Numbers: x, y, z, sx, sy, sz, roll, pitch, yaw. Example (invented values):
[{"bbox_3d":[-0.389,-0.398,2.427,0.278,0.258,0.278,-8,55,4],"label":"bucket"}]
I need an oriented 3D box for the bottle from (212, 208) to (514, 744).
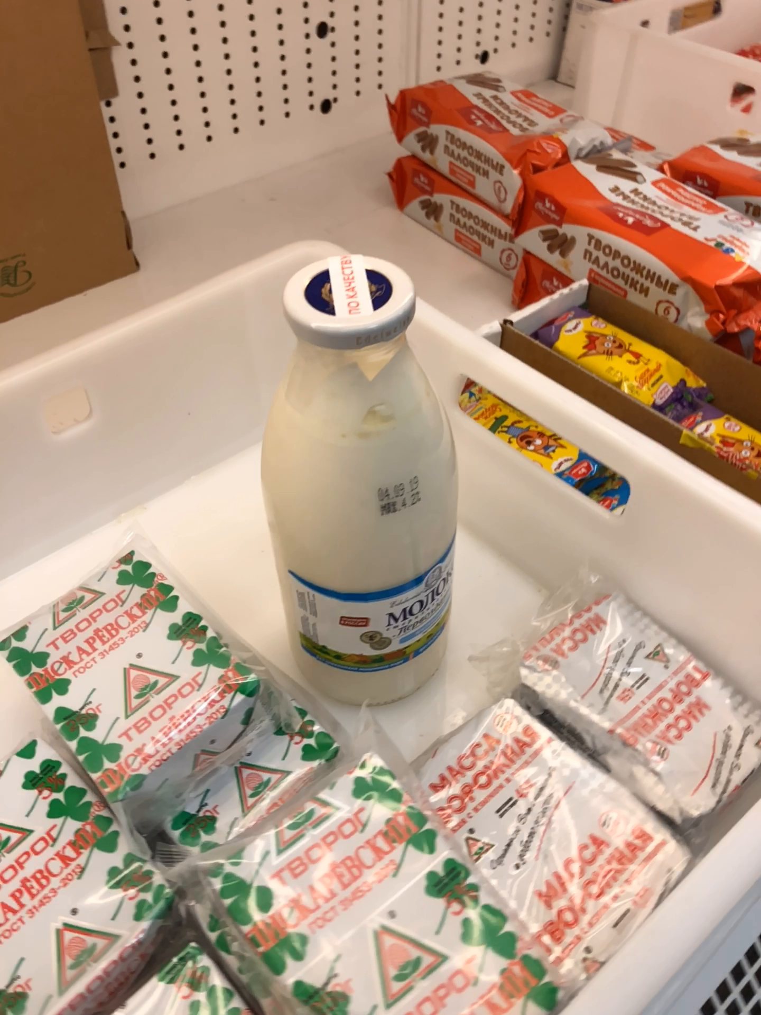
[{"bbox_3d":[-0.006,0.000,0.361,0.071,0.220,0.072,0,46,0],"label":"bottle"}]
